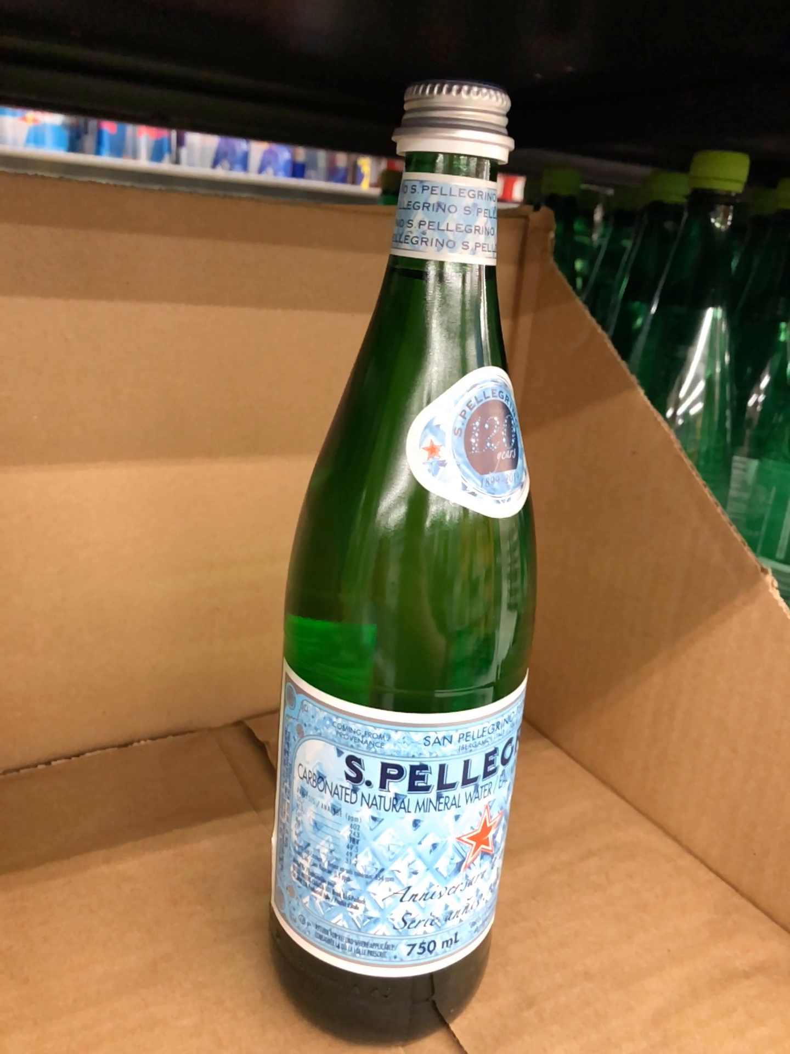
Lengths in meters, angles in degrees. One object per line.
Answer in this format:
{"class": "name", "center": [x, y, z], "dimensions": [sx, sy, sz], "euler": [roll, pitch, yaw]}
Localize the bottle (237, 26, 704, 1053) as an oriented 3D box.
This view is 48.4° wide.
{"class": "bottle", "center": [0.009, 0.022, 0.258], "dimensions": [0.080, 0.278, 0.070], "euler": [-6, 21, -31]}
